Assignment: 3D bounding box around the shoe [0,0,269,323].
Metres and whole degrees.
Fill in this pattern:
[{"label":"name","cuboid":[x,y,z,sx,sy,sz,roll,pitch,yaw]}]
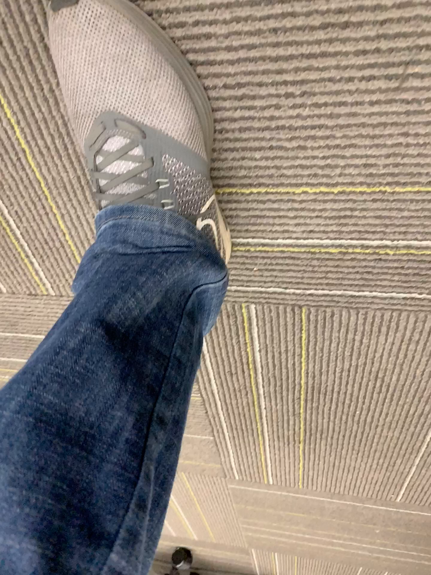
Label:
[{"label":"shoe","cuboid":[-0.058,-0.103,0.414,0.128,0.092,0.301,-7,134,22]}]
